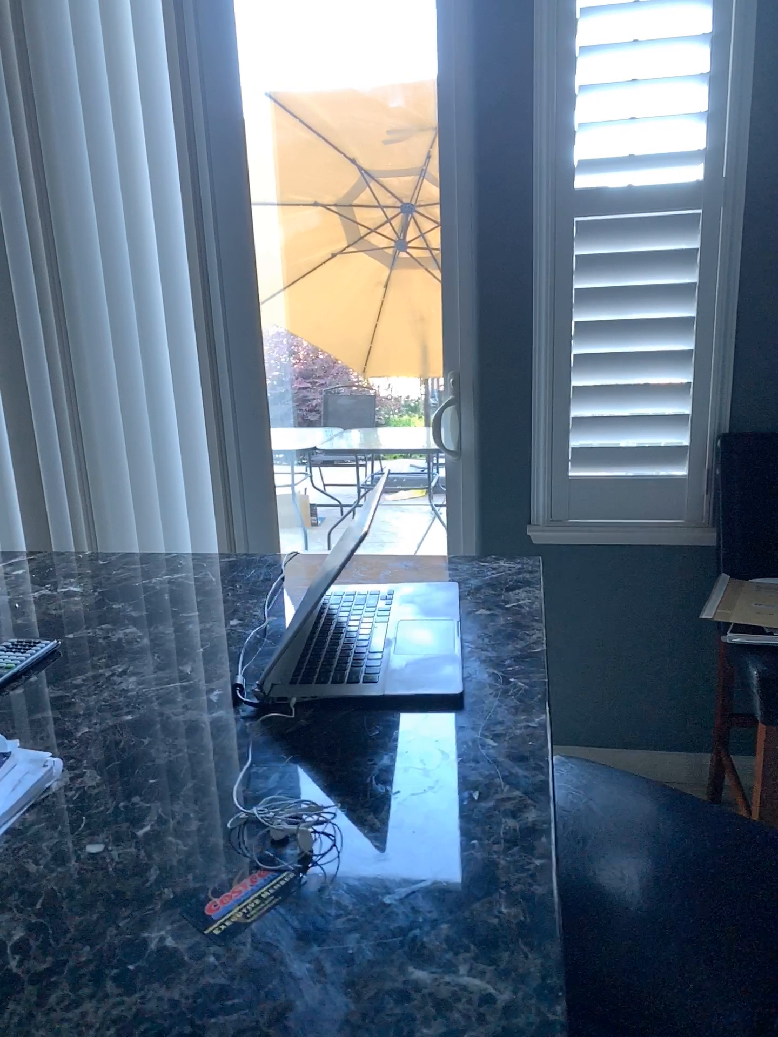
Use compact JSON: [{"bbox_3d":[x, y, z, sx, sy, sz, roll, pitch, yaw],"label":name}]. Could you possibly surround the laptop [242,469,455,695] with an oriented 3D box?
[{"bbox_3d":[-0.029,0.065,1.071,0.233,0.188,0.363,-1,15,5],"label":"laptop"}]
